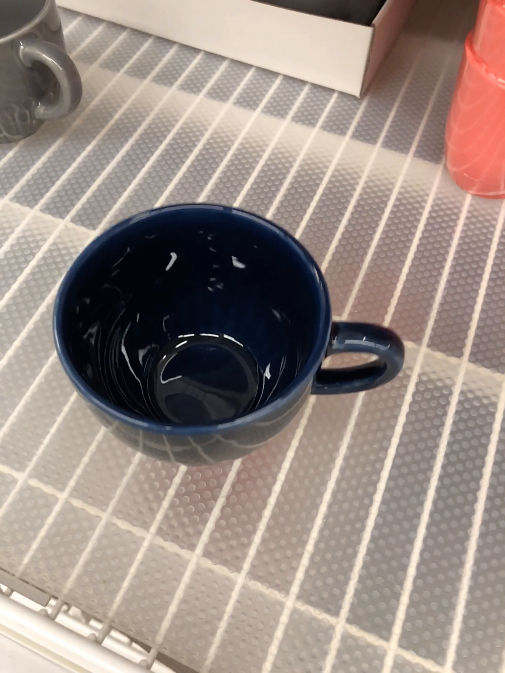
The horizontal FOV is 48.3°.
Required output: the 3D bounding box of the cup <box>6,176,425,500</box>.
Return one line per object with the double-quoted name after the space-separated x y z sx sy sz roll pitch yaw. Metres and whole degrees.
-0.009 -0.001 0.229 0.130 0.060 0.110 3 58 1 "cup"
